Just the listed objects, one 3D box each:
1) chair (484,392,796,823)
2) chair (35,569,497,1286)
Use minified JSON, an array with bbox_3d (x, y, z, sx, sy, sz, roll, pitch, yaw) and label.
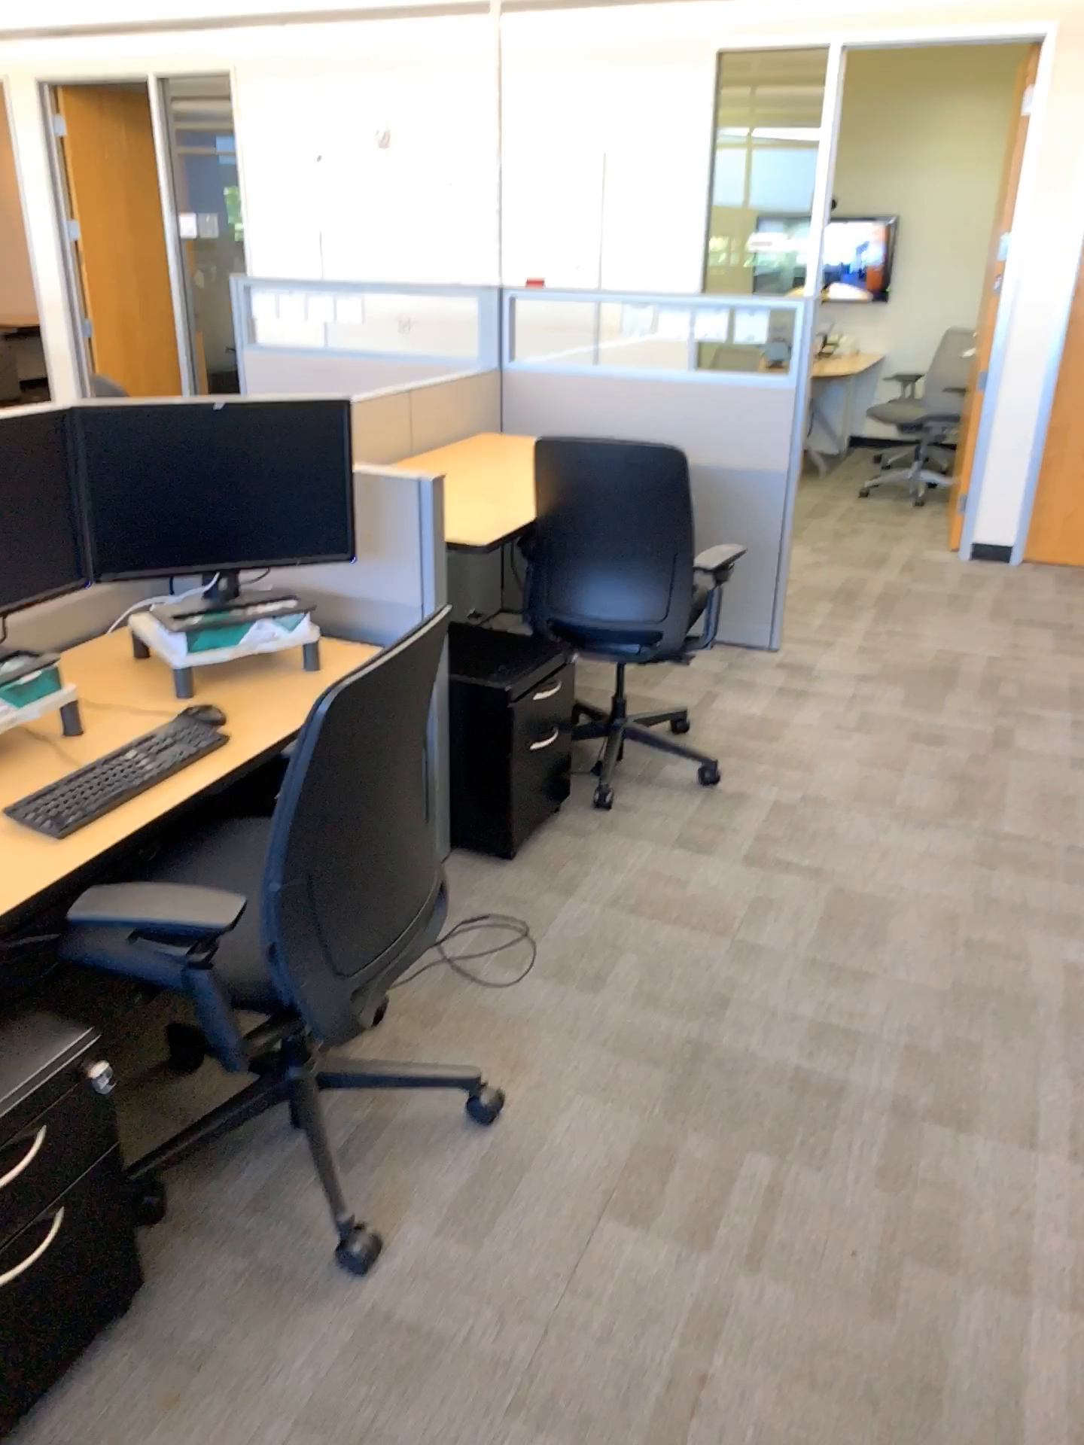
[{"bbox_3d":[0.290,-0.382,3.233,0.631,0.994,0.763,11,26,22],"label":"chair"},{"bbox_3d":[-0.407,0.317,1.910,0.461,0.994,0.542,12,26,23],"label":"chair"}]
